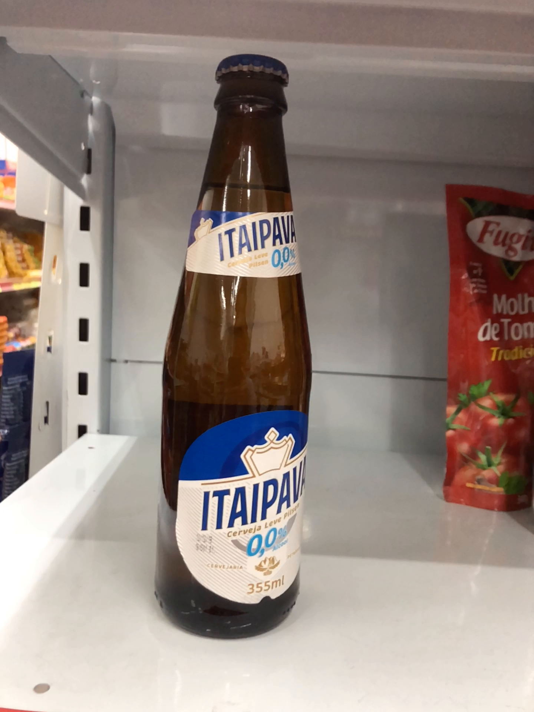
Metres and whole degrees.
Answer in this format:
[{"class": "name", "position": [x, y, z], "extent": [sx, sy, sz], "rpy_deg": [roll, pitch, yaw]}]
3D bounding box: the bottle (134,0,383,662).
[{"class": "bottle", "position": [-0.009, -0.011, 0.216], "extent": [0.060, 0.209, 0.060], "rpy_deg": [3, 9, 0]}]
